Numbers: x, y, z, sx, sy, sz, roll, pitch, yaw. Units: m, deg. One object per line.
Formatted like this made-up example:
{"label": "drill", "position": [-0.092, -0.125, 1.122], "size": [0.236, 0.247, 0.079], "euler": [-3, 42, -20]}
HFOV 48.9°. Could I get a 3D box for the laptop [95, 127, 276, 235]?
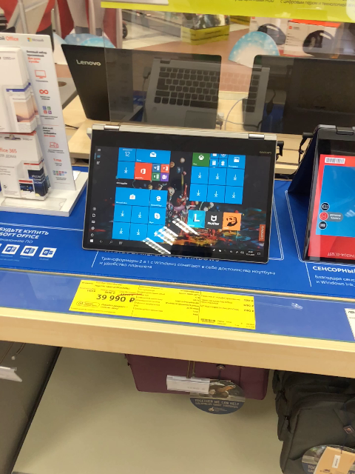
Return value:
{"label": "laptop", "position": [0.015, -0.105, 0.876], "size": [0.335, 0.150, 0.211], "euler": [5, 8, 5]}
